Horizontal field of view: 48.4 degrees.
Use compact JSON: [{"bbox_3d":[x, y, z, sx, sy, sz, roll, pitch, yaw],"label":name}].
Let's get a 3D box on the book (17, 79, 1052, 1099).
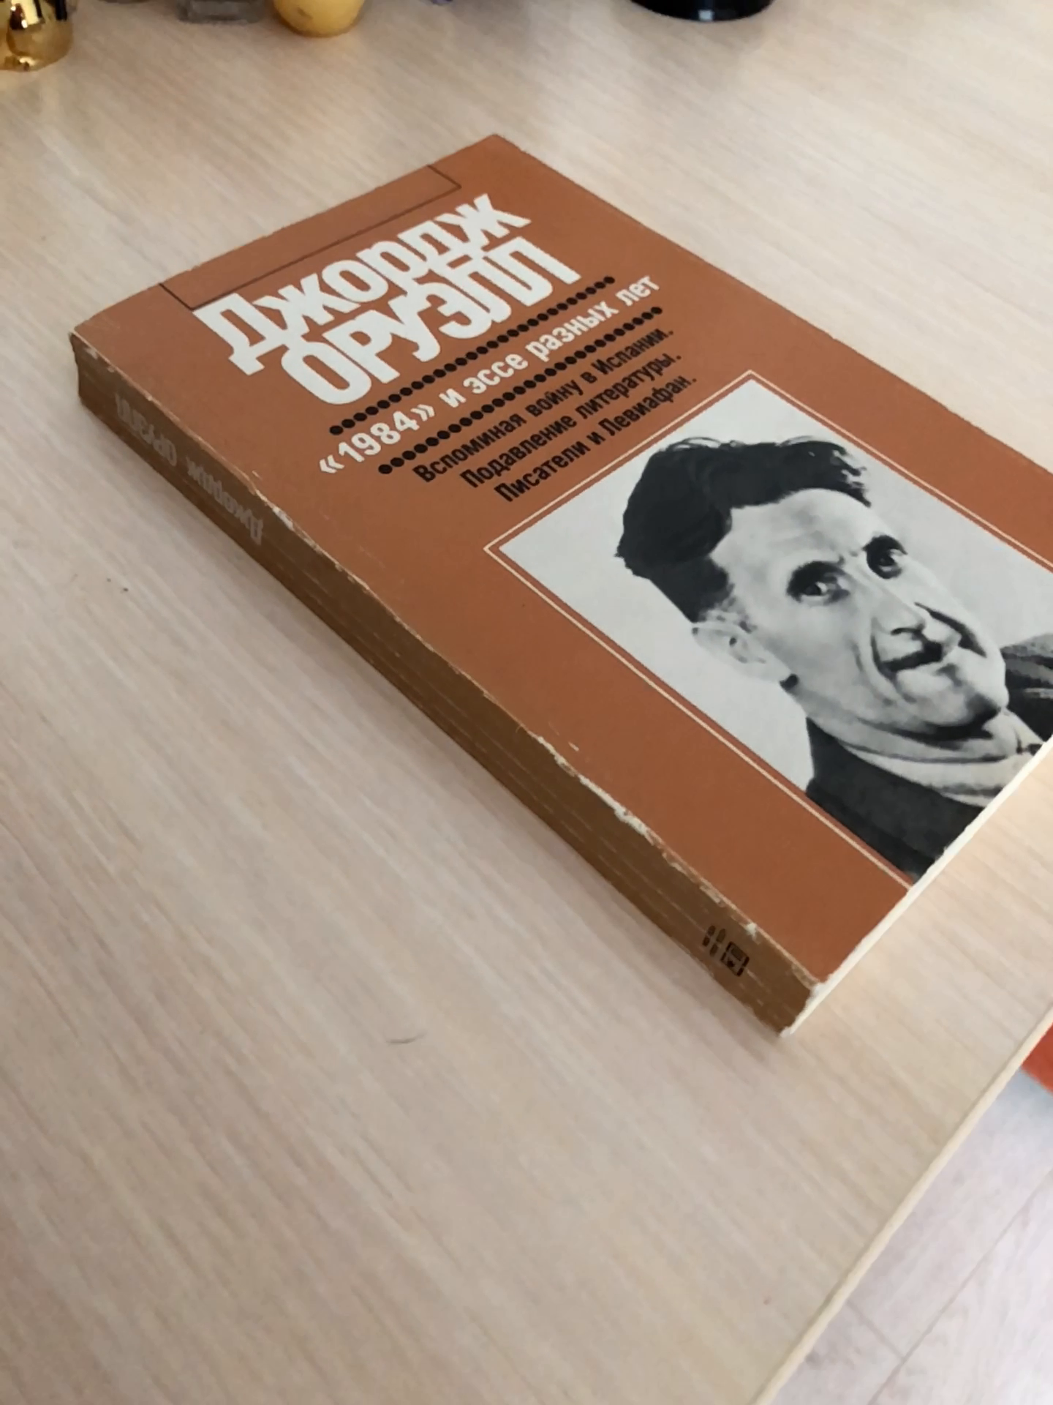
[{"bbox_3d":[0.016,-0.047,0.239,0.130,0.040,0.210,-38,64,-26],"label":"book"}]
